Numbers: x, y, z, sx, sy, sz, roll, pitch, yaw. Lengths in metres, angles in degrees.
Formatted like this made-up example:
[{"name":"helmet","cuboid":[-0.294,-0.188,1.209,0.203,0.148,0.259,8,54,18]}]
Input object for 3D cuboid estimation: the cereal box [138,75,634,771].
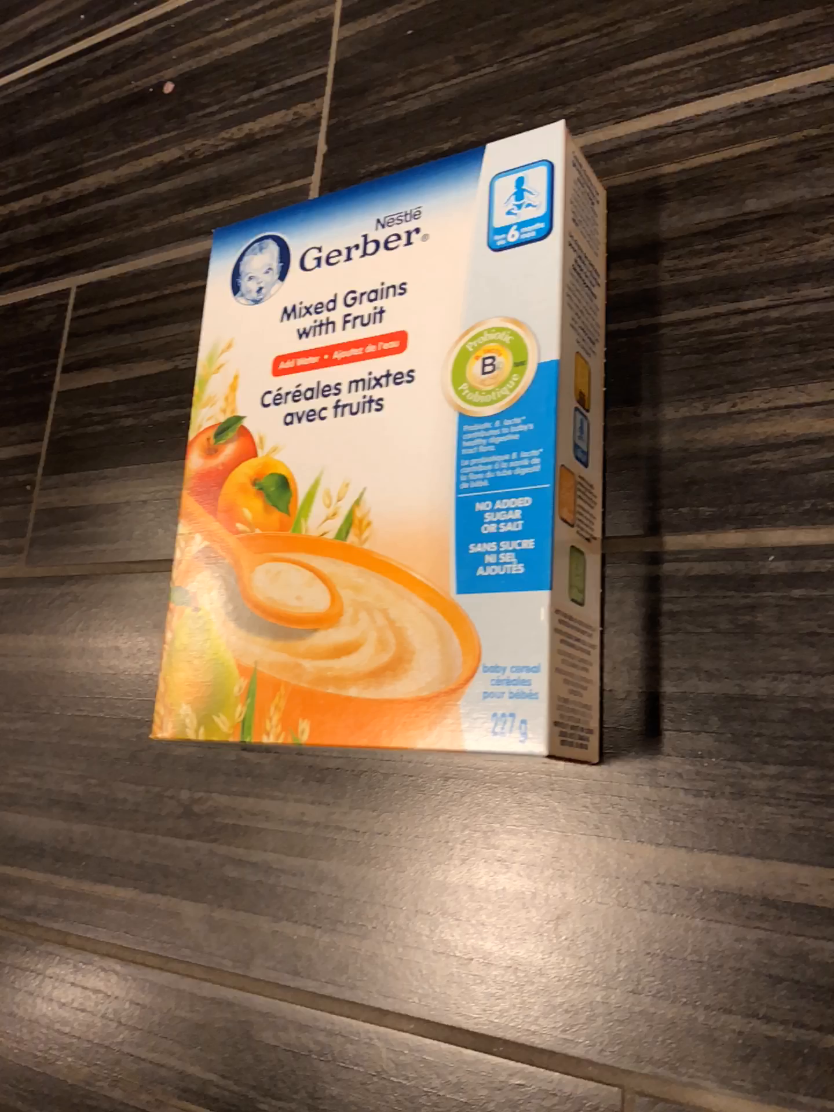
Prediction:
[{"name":"cereal box","cuboid":[-0.009,-0.034,0.310,0.151,0.050,0.200,-4,76,29]}]
